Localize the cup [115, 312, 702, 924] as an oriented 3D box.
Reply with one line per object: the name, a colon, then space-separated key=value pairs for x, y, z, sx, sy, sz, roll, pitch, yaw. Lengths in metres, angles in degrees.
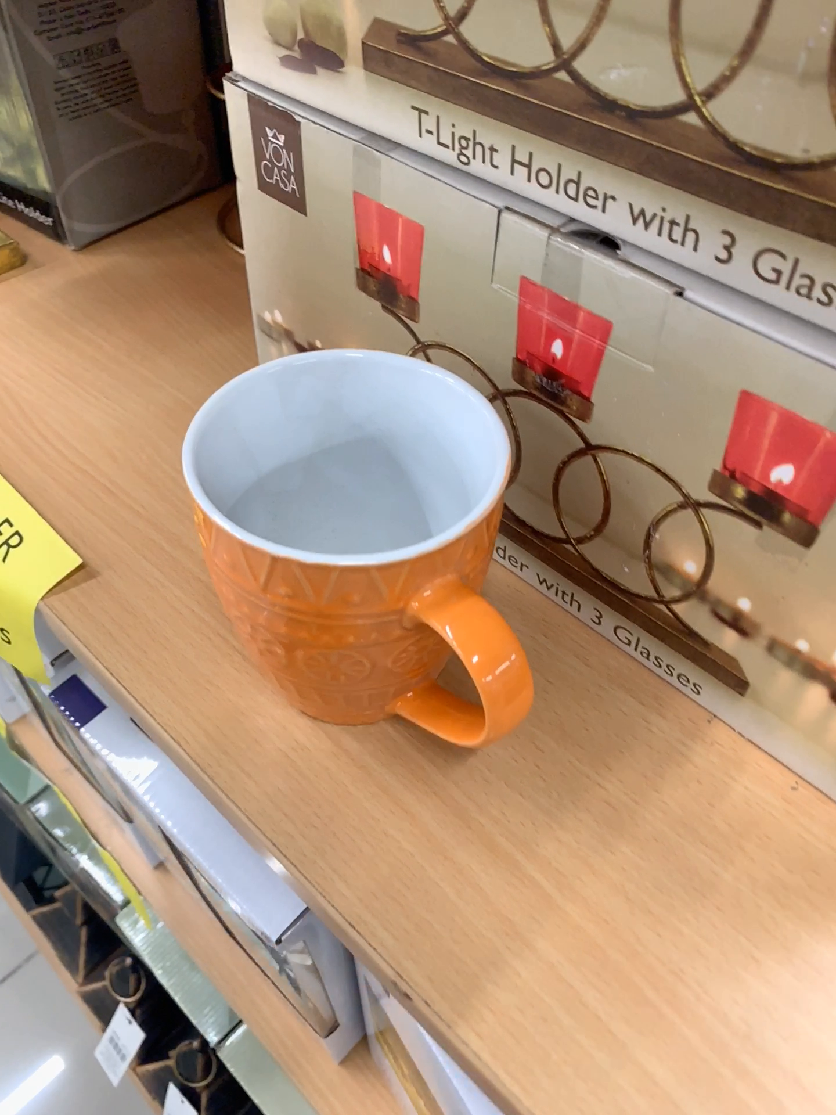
cup: x=-0.009 y=0.009 z=0.231 sx=0.080 sy=0.080 sz=0.120 roll=-29 pitch=56 yaw=-27
